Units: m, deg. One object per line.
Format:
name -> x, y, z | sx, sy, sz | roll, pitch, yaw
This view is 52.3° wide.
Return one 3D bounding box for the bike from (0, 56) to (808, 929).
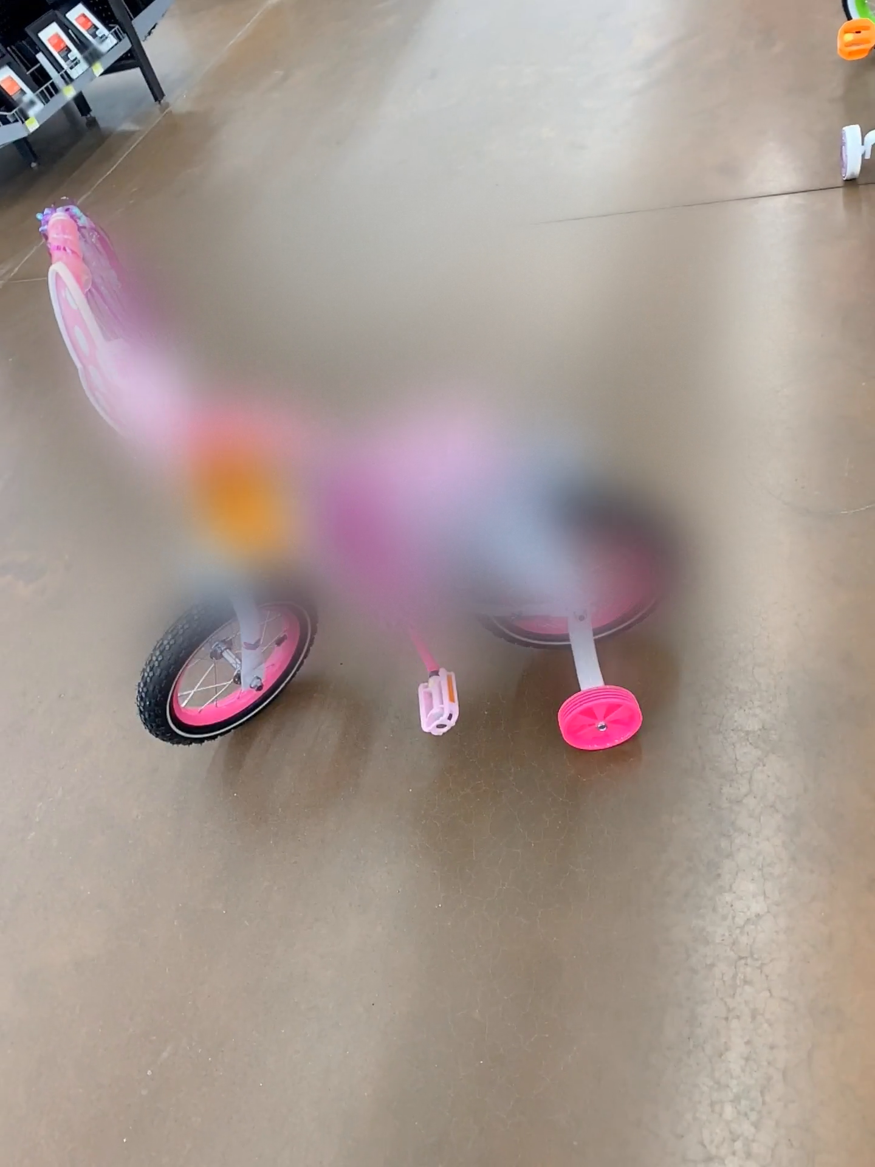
bike -> -0.080, -0.058, 1.050 | 0.759, 0.750, 0.445 | -22, 46, -2
